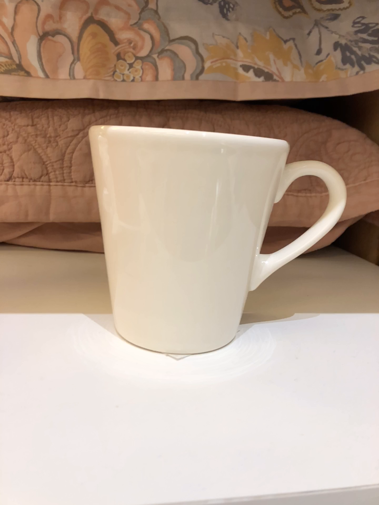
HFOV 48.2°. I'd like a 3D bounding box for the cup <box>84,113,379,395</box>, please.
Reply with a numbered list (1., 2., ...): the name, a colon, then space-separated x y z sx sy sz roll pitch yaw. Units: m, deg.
1. cup: 0.012 -0.007 0.202 0.110 0.100 0.080 -1 14 -21
